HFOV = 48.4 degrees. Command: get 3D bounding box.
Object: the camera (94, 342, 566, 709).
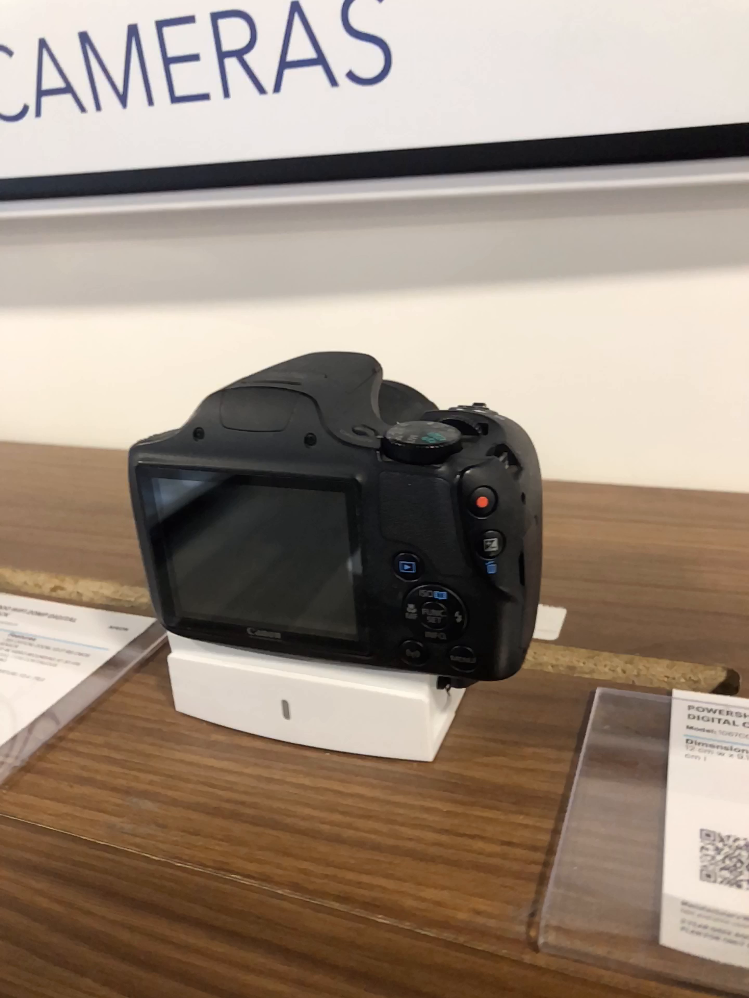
[{"bbox_3d":[-0.004,-0.002,0.275,0.120,0.080,0.102,3,22,18],"label":"camera"}]
